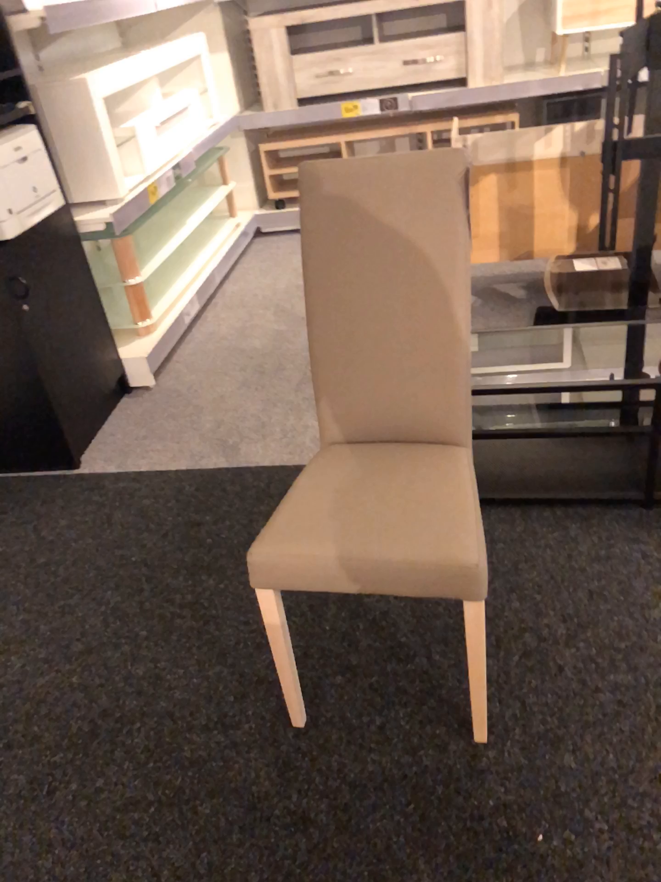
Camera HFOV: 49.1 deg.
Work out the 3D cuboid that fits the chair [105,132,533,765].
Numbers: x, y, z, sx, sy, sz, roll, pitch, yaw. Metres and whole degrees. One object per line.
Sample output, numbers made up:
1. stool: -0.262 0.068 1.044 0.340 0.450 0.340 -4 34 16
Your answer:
1. chair: 0.098 0.010 1.369 0.530 0.945 0.634 0 33 14
